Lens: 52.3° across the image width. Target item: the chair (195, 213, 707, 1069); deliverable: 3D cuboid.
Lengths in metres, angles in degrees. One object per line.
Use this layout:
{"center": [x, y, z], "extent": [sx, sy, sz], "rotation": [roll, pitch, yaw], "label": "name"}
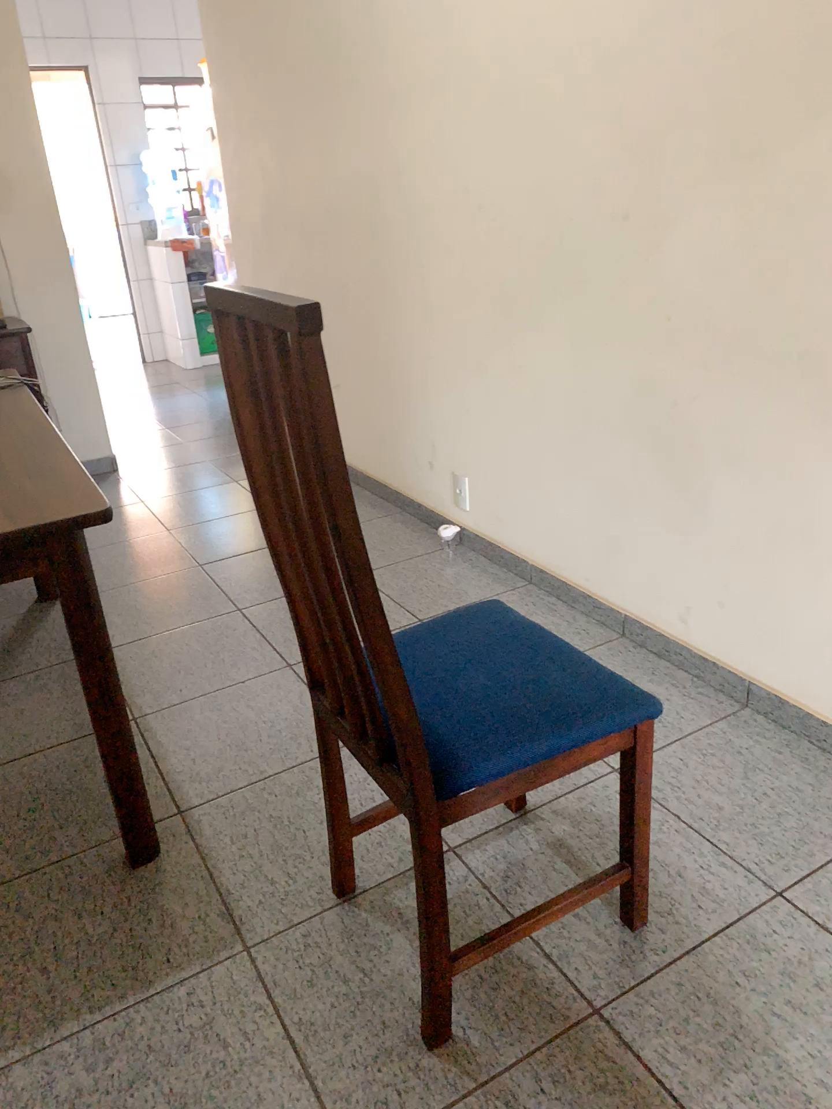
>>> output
{"center": [0.073, 0.096, 1.343], "extent": [0.521, 1.124, 0.472], "rotation": [-16, 24, -26], "label": "chair"}
